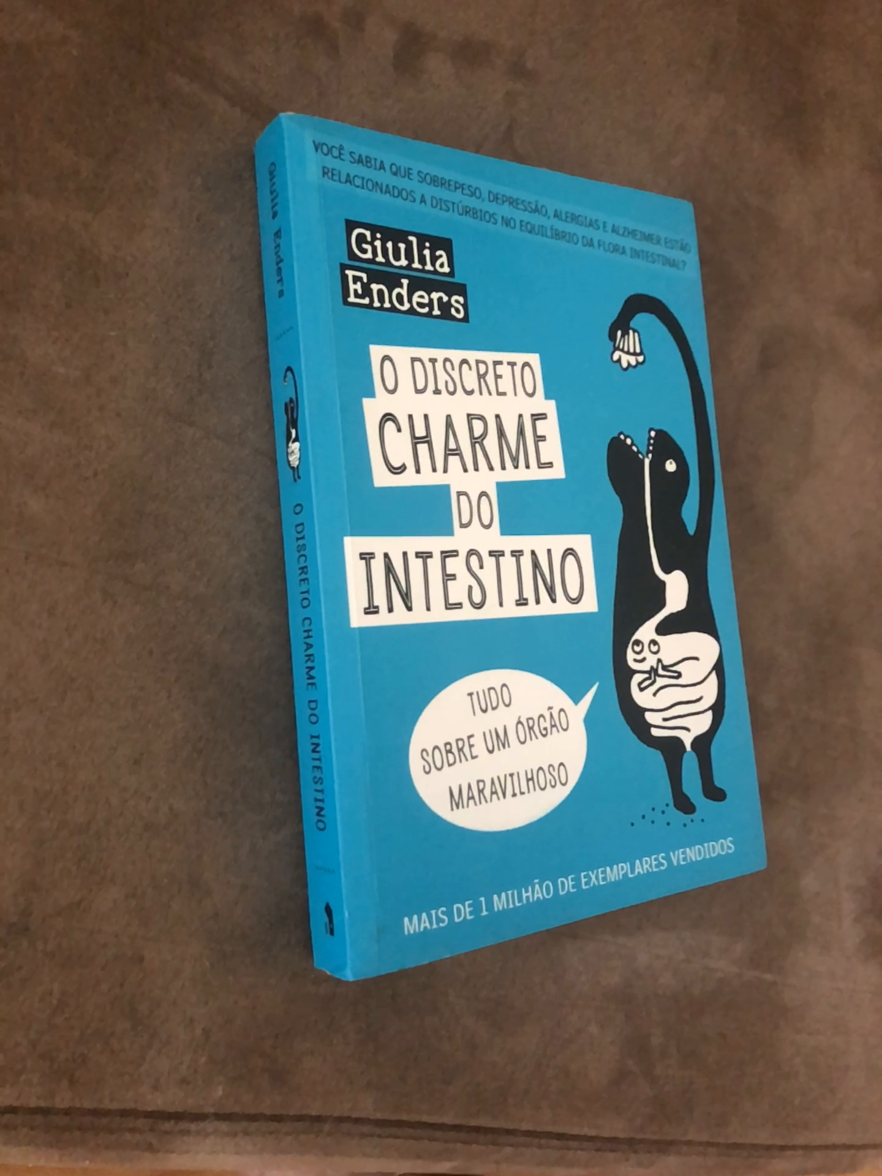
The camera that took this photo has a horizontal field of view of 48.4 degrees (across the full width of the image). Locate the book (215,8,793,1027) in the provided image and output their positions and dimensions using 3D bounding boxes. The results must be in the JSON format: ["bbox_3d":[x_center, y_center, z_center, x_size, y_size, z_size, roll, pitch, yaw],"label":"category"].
[{"bbox_3d":[0.021,-0.021,0.259,0.141,0.030,0.220,-2,84,-33],"label":"book"}]
